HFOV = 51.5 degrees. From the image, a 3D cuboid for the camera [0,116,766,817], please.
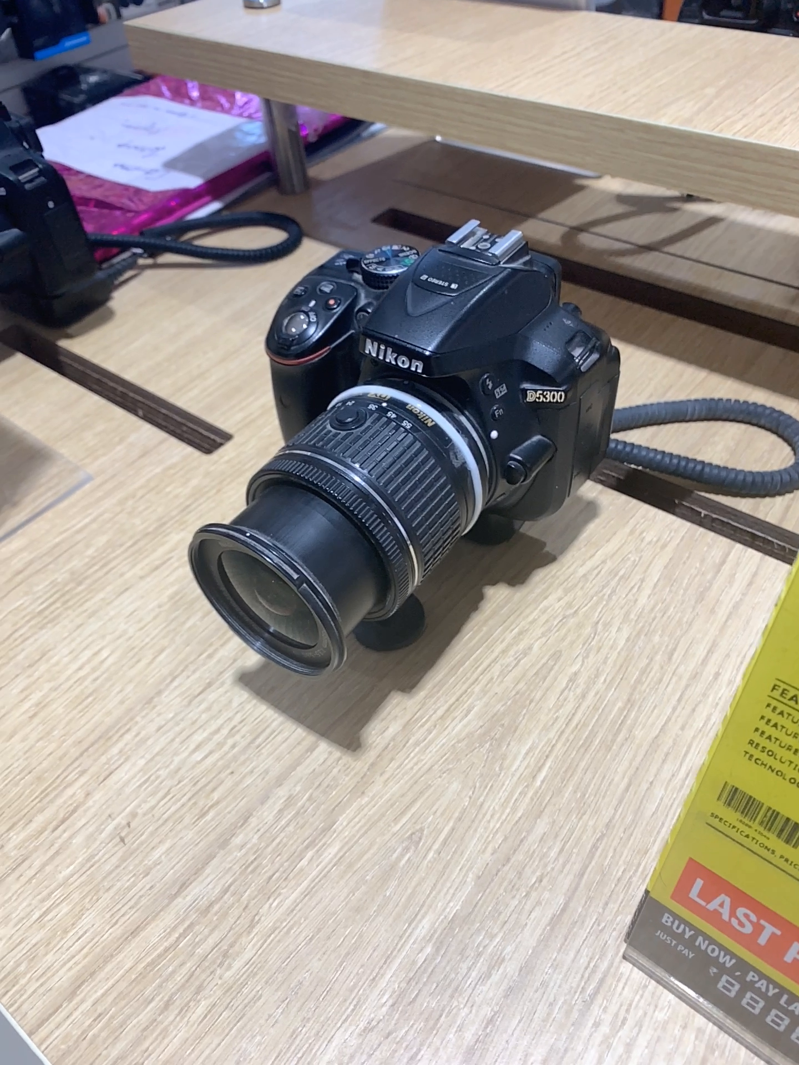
[{"bbox_3d":[0.007,-0.047,0.311,0.160,0.120,0.210,24,52,27],"label":"camera"}]
